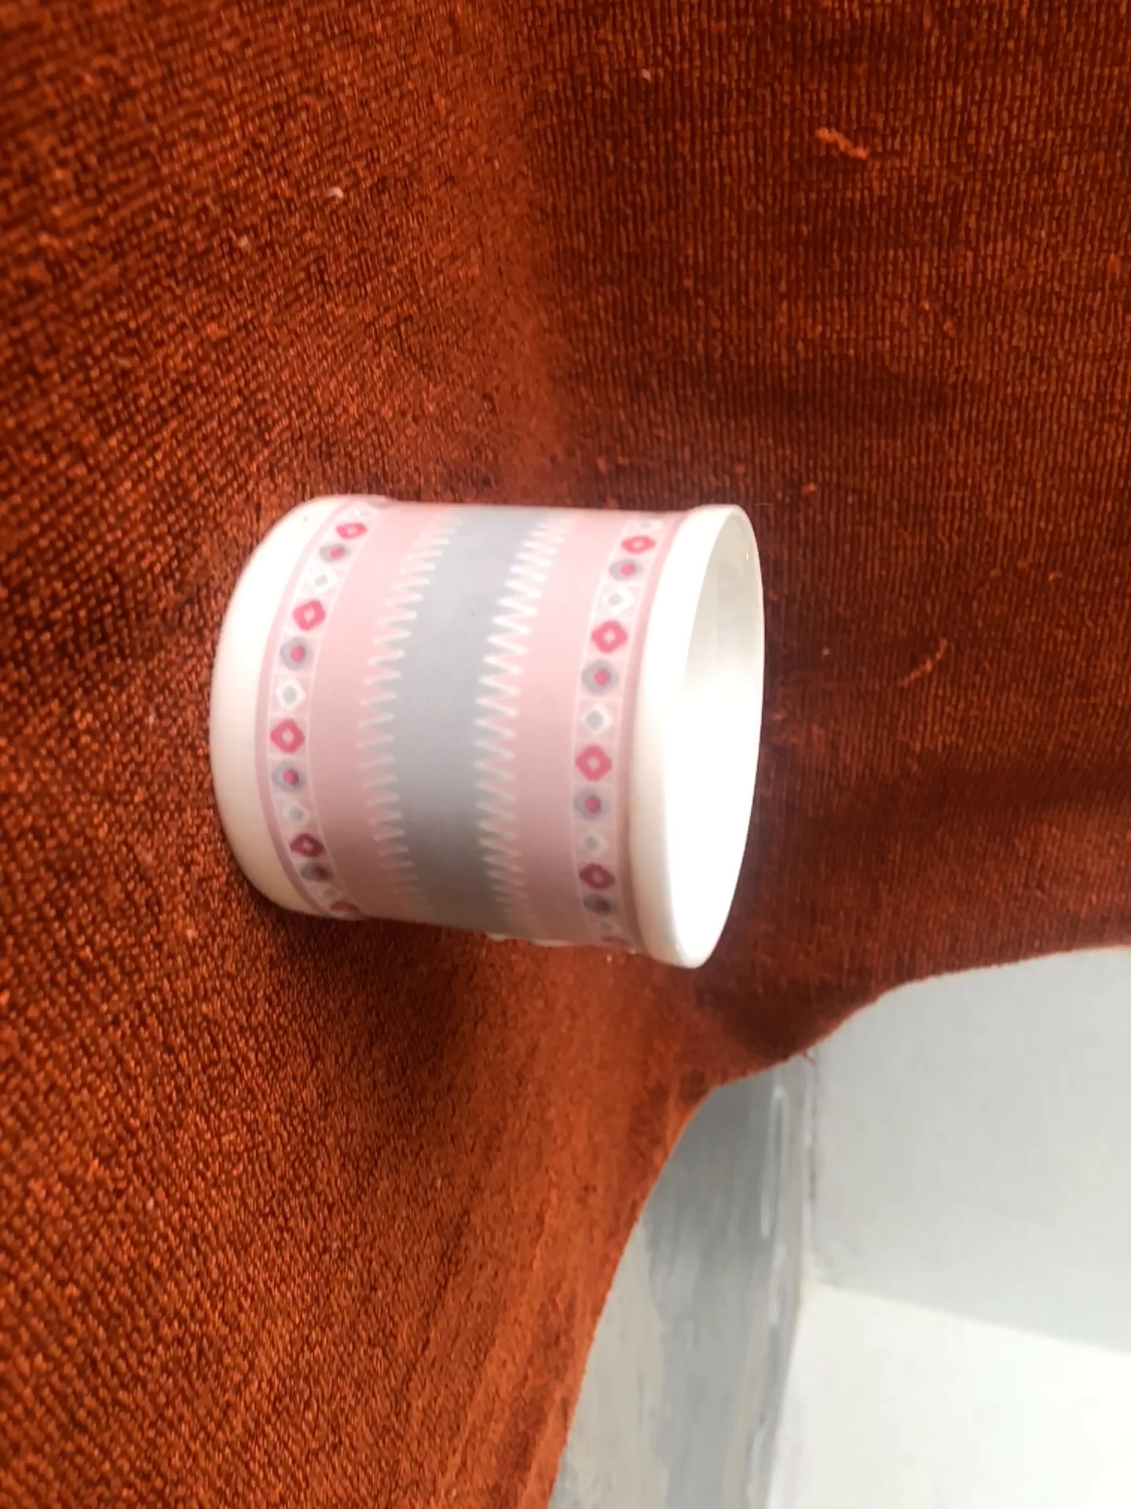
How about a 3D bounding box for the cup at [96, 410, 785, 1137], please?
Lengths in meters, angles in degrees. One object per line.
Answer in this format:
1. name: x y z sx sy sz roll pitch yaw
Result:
1. cup: -0.007 0.005 0.192 0.090 0.070 0.060 77 25 -49
